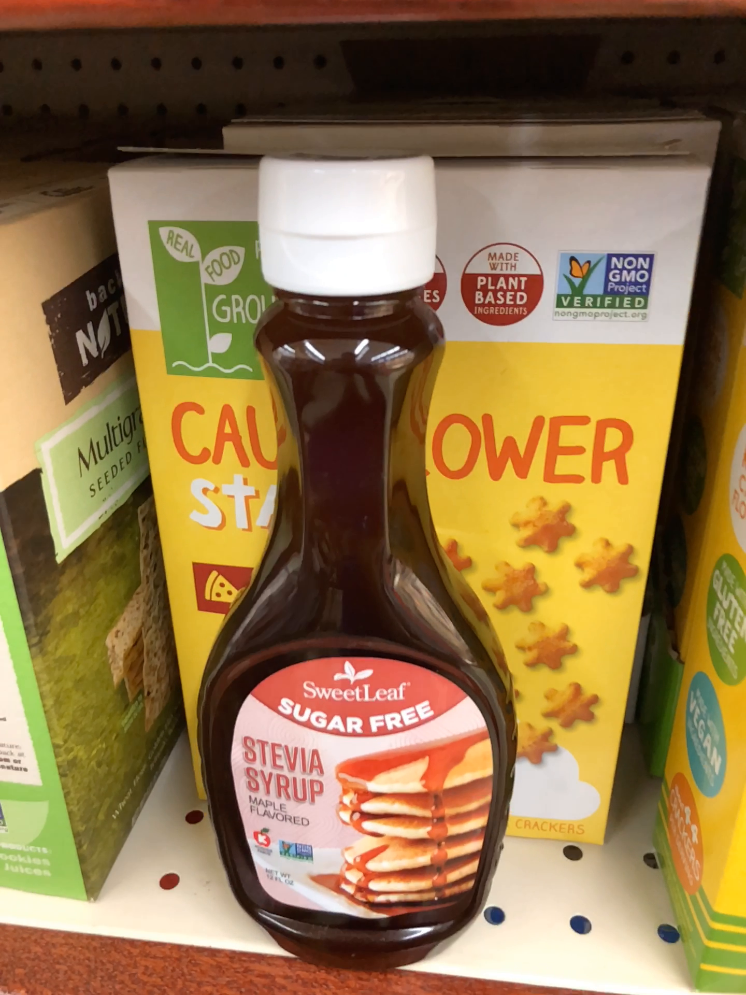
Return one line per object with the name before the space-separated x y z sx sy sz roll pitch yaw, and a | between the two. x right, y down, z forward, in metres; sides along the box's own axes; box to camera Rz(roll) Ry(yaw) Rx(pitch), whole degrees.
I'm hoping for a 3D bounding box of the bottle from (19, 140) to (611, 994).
bottle | -0.008 0.031 0.202 0.092 0.211 0.051 0 28 2
